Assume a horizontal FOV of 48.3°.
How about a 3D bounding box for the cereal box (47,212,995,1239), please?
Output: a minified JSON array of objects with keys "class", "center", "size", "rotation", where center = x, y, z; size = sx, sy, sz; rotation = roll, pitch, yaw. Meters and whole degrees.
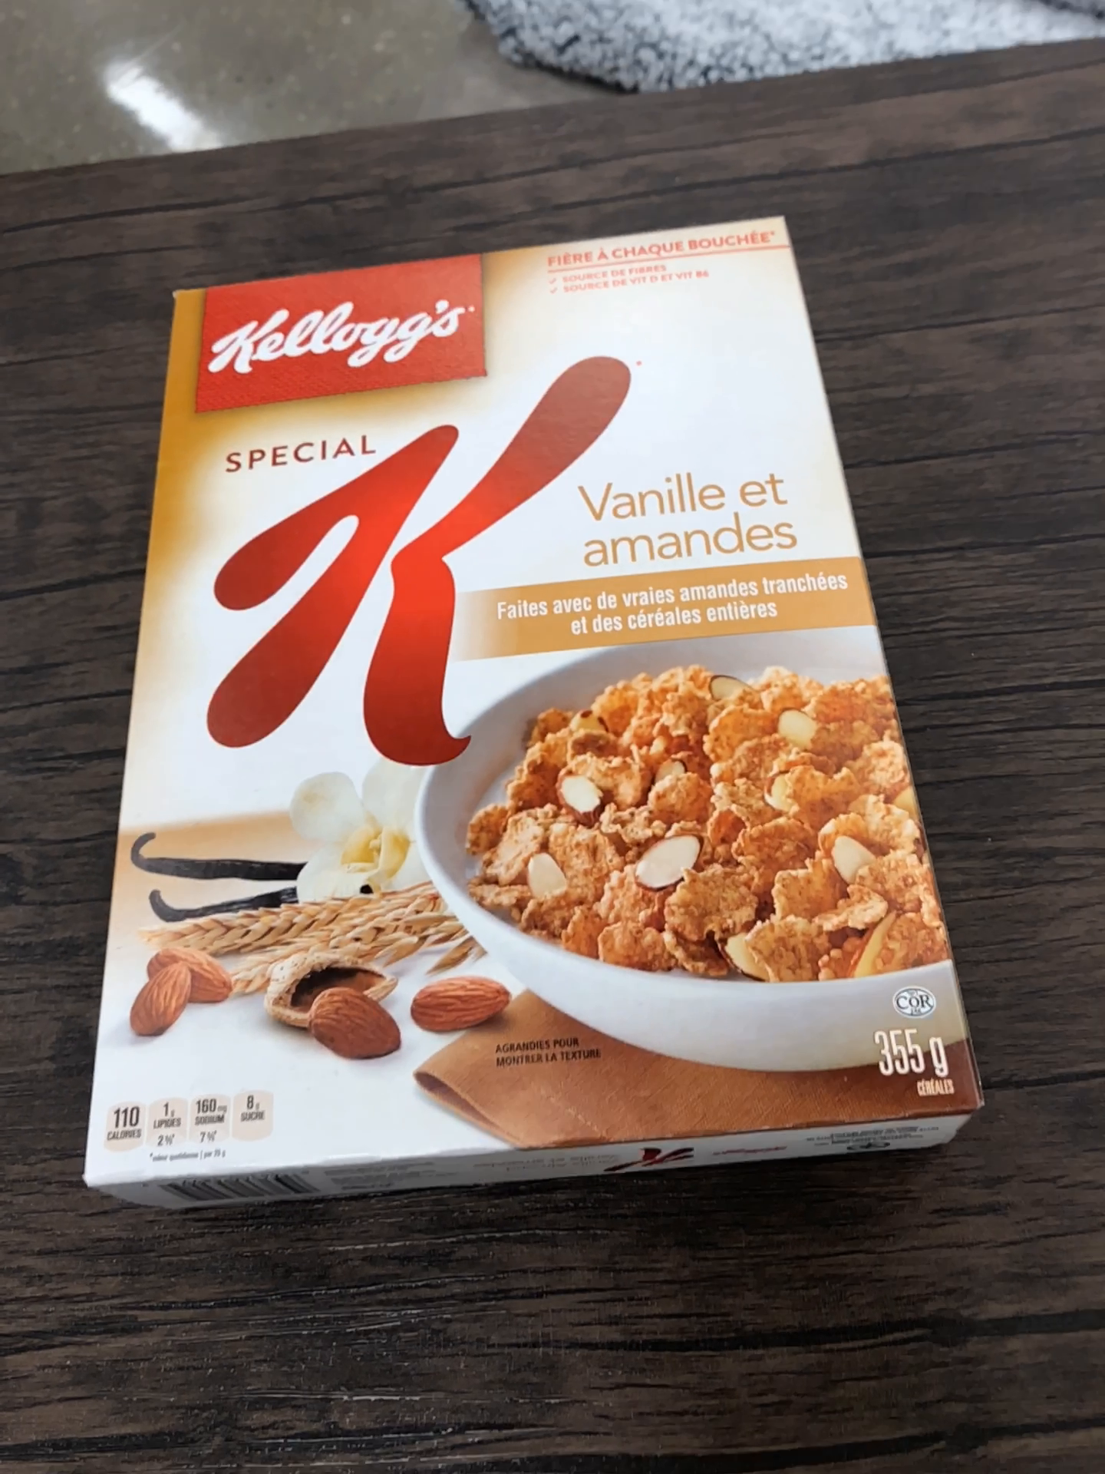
[{"class":"cereal box","center":[-0.015,-0.015,0.344],"size":[0.200,0.060,0.270],"rotation":[-6,64,2]}]
